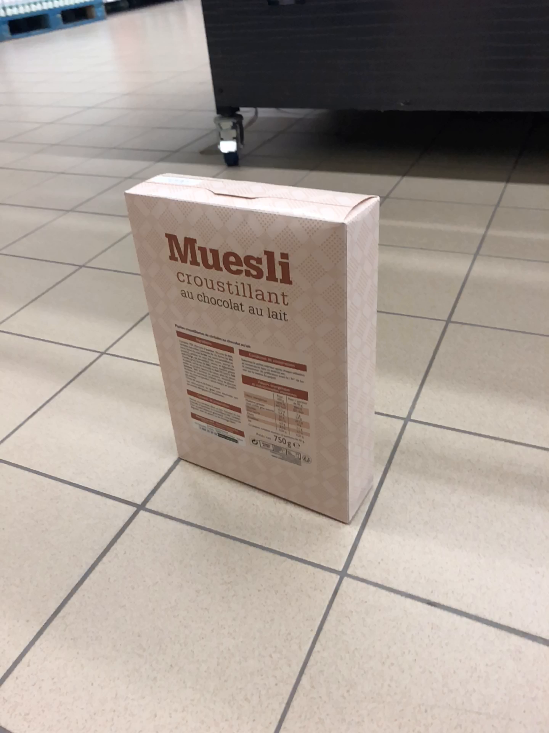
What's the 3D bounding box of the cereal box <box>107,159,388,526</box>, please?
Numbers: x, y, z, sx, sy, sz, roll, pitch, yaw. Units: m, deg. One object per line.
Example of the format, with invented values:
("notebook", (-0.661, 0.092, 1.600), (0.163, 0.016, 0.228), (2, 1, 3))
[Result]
("cereal box", (-0.016, -0.019, 0.498), (0.200, 0.268, 0.060), (15, 37, 28))
